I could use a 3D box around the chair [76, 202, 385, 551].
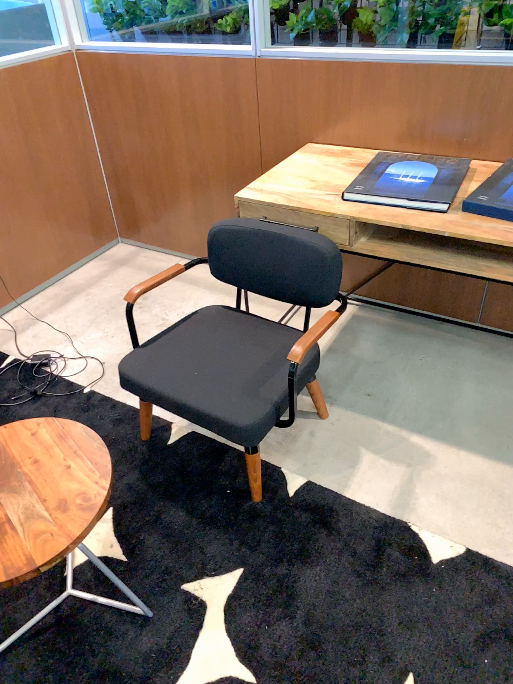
[{"bbox_3d":[-0.046,0.084,1.881,0.752,0.875,0.612,19,43,29],"label":"chair"}]
